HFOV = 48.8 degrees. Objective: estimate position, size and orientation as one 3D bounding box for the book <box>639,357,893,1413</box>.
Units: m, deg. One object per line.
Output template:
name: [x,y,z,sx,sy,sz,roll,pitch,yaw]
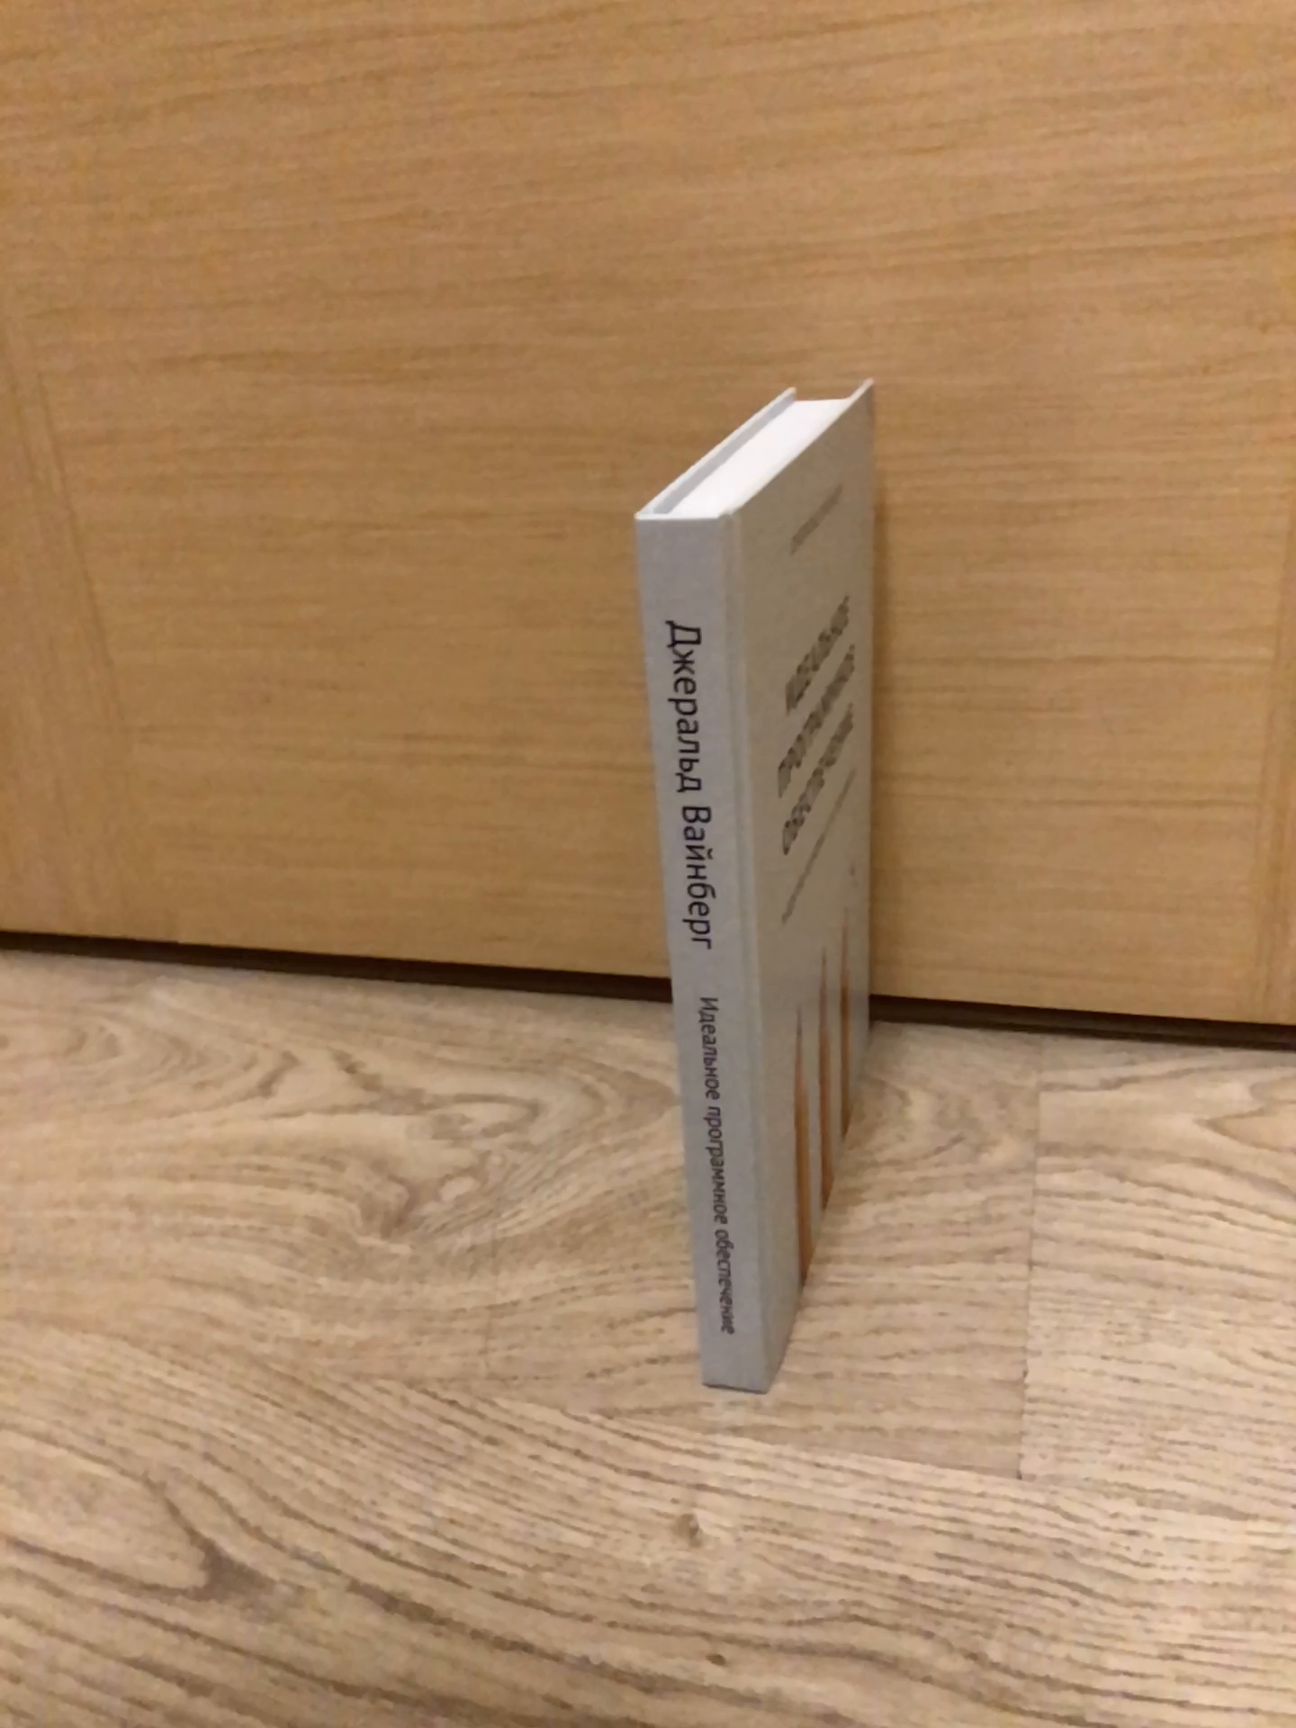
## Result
book: [0.038,-0.005,0.355,0.023,0.209,0.164,4,26,16]
